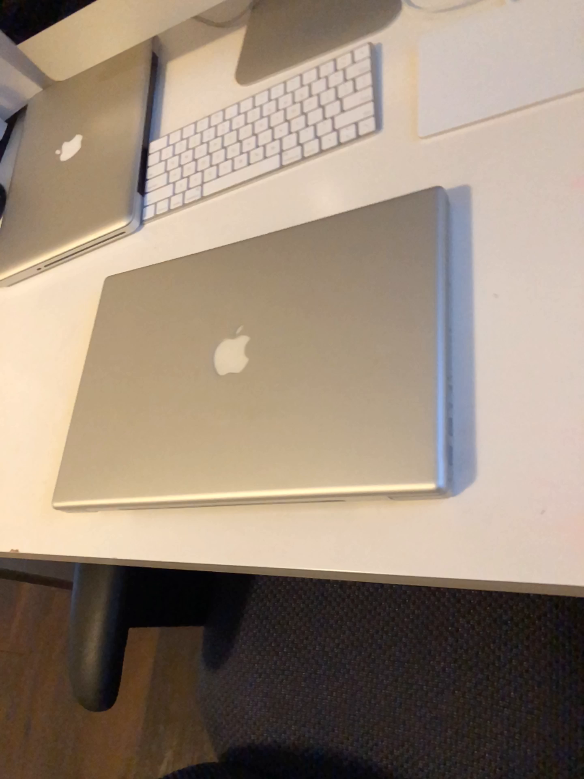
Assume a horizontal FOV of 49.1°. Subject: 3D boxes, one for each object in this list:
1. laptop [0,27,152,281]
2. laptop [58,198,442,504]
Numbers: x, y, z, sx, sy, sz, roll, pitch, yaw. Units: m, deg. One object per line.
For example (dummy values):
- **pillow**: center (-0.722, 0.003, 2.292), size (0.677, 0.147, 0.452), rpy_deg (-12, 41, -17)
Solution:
- **laptop**: center (-0.269, -0.287, 0.772), size (0.201, 0.009, 0.278), rpy_deg (-12, 64, 23)
- **laptop**: center (-0.046, -0.021, 0.515), size (0.334, 0.005, 0.214), rpy_deg (-7, 66, 28)
